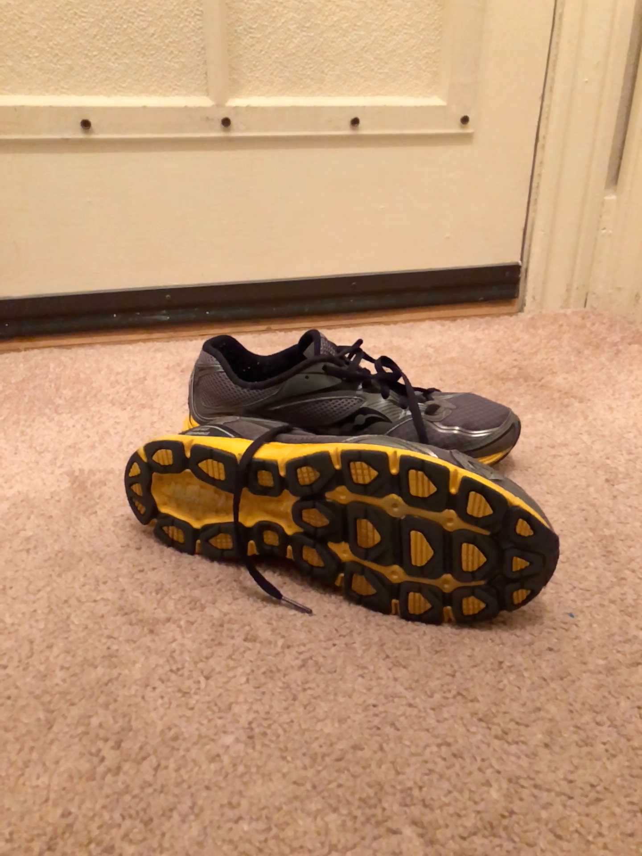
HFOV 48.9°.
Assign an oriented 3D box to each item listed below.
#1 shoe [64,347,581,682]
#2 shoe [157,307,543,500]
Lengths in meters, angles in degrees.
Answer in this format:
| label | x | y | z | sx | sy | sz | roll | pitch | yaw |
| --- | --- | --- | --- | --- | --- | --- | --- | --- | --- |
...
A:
| label | x | y | z | sx | sy | sz | roll | pitch | yaw |
| --- | --- | --- | --- | --- | --- | --- | --- | --- | --- |
| shoe | 0.001 | 0.041 | 0.455 | 0.293 | 0.117 | 0.110 | 10 | 30 | 18 |
| shoe | 0.025 | -0.027 | 0.586 | 0.283 | 0.099 | 0.119 | 5 | 27 | 9 |
